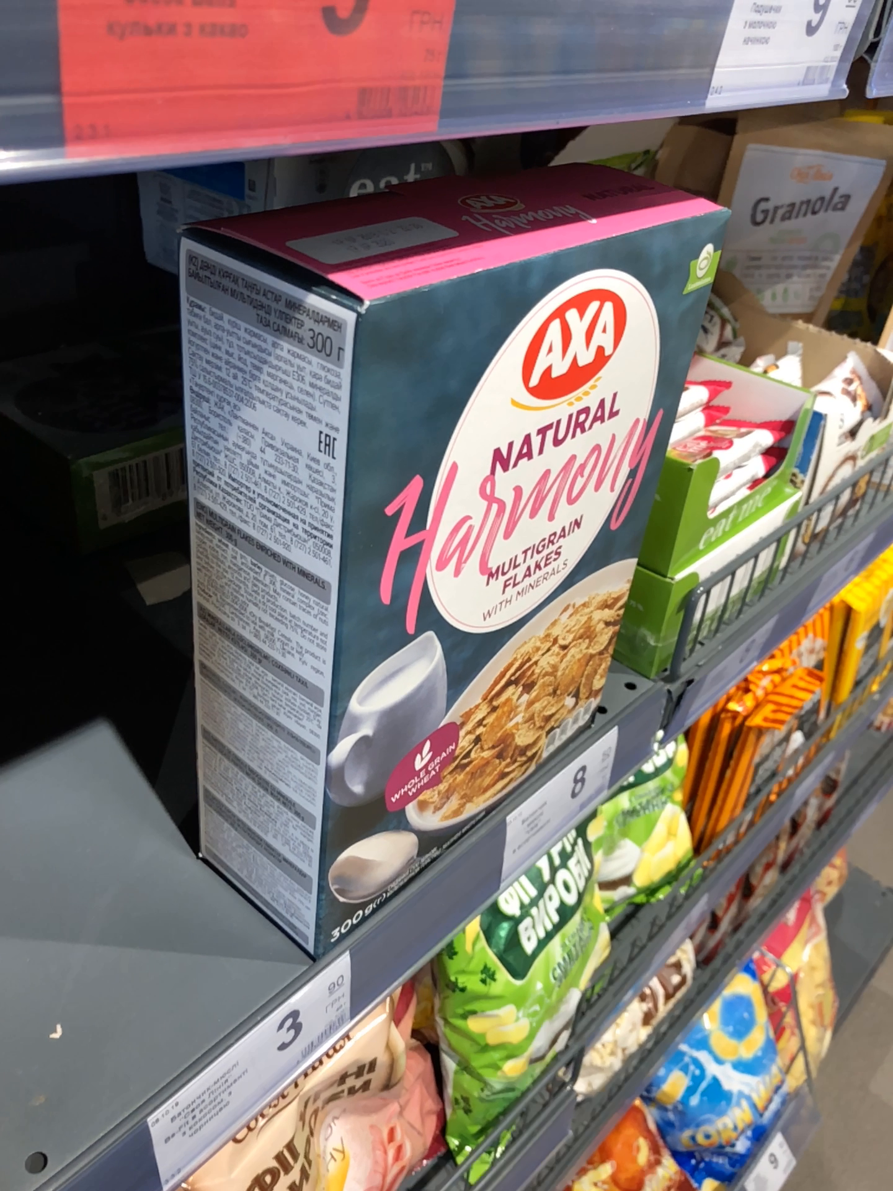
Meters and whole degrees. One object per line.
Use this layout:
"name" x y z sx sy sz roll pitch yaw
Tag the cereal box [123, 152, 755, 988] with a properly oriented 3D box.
"cereal box" -0.001 -0.014 0.330 0.070 0.218 0.181 31 41 29
